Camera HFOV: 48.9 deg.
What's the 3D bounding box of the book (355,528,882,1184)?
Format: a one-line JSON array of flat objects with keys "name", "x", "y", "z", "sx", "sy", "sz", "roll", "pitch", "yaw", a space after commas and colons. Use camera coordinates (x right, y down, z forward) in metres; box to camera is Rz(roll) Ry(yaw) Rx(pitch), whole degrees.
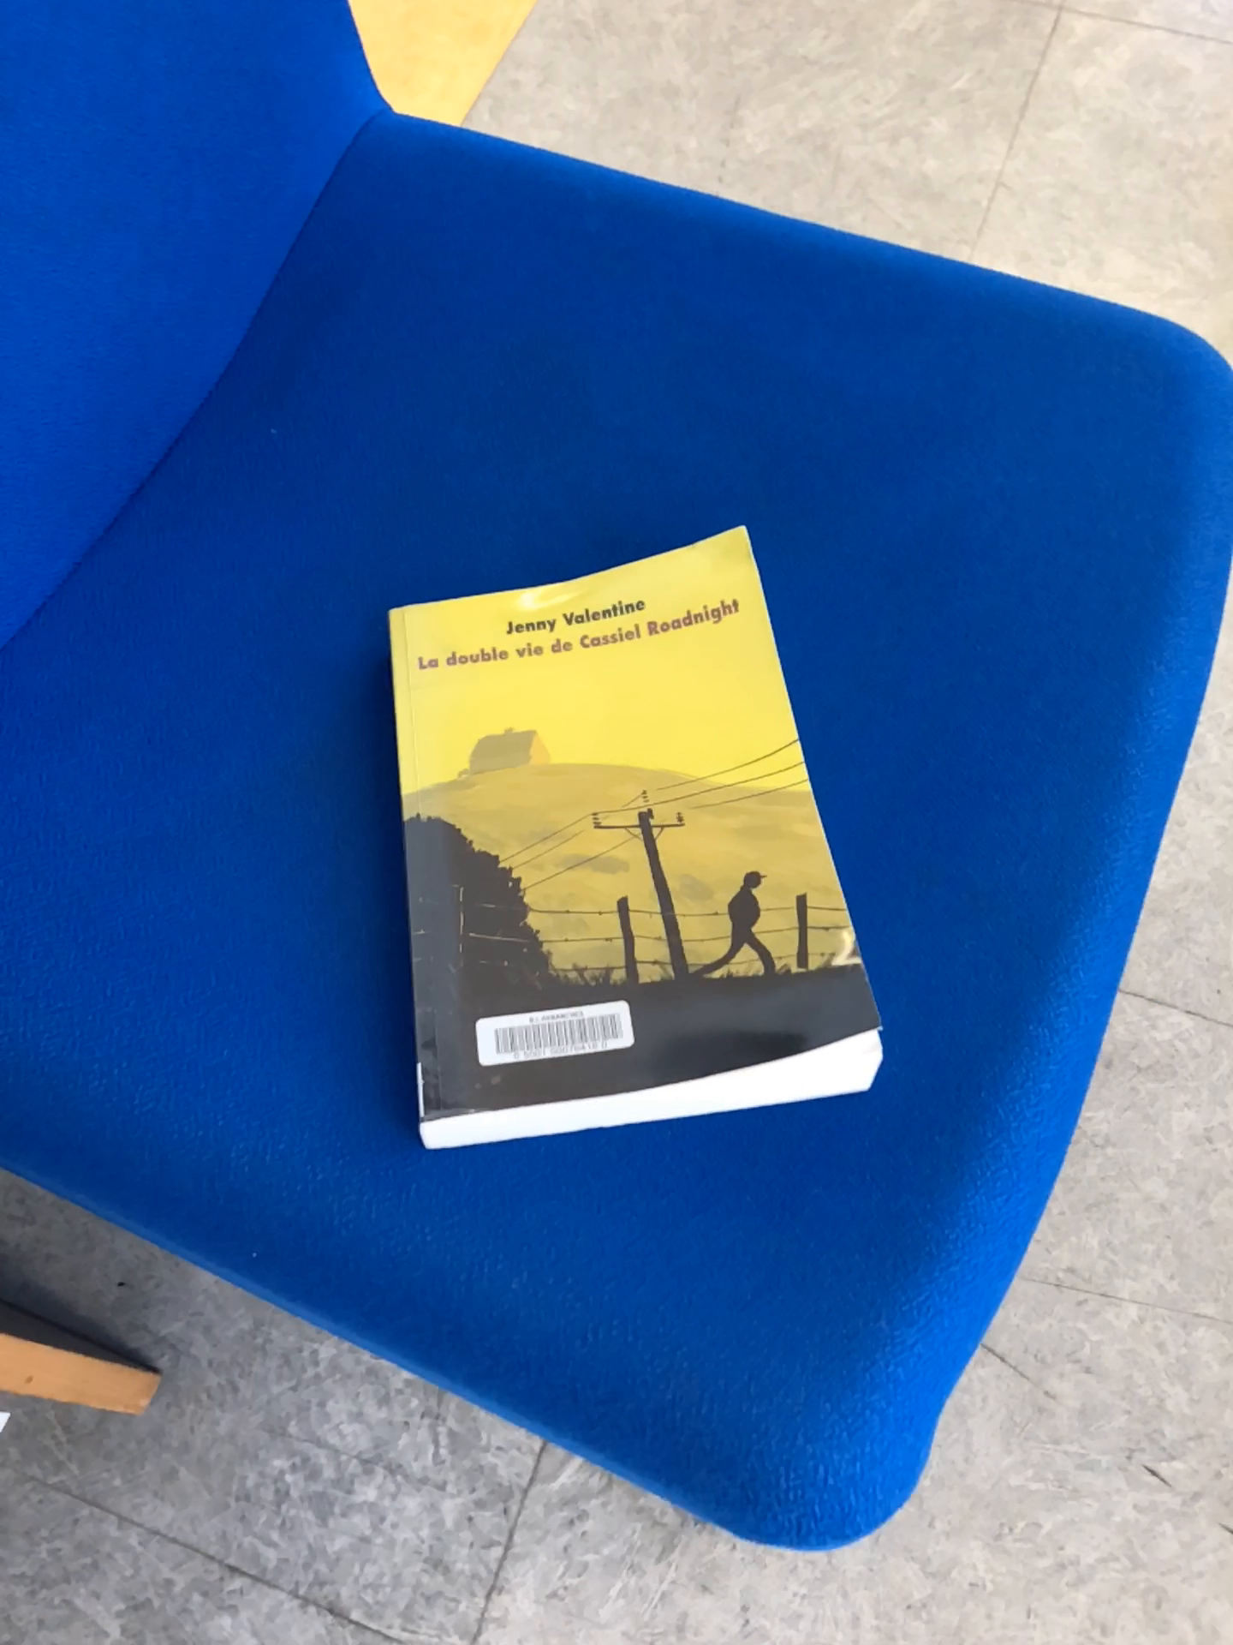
[{"name": "book", "x": -0.009, "y": 0.001, "z": 0.464, "sx": 0.145, "sy": 0.040, "sz": 0.215, "roll": -8, "pitch": 59, "yaw": -2}]
